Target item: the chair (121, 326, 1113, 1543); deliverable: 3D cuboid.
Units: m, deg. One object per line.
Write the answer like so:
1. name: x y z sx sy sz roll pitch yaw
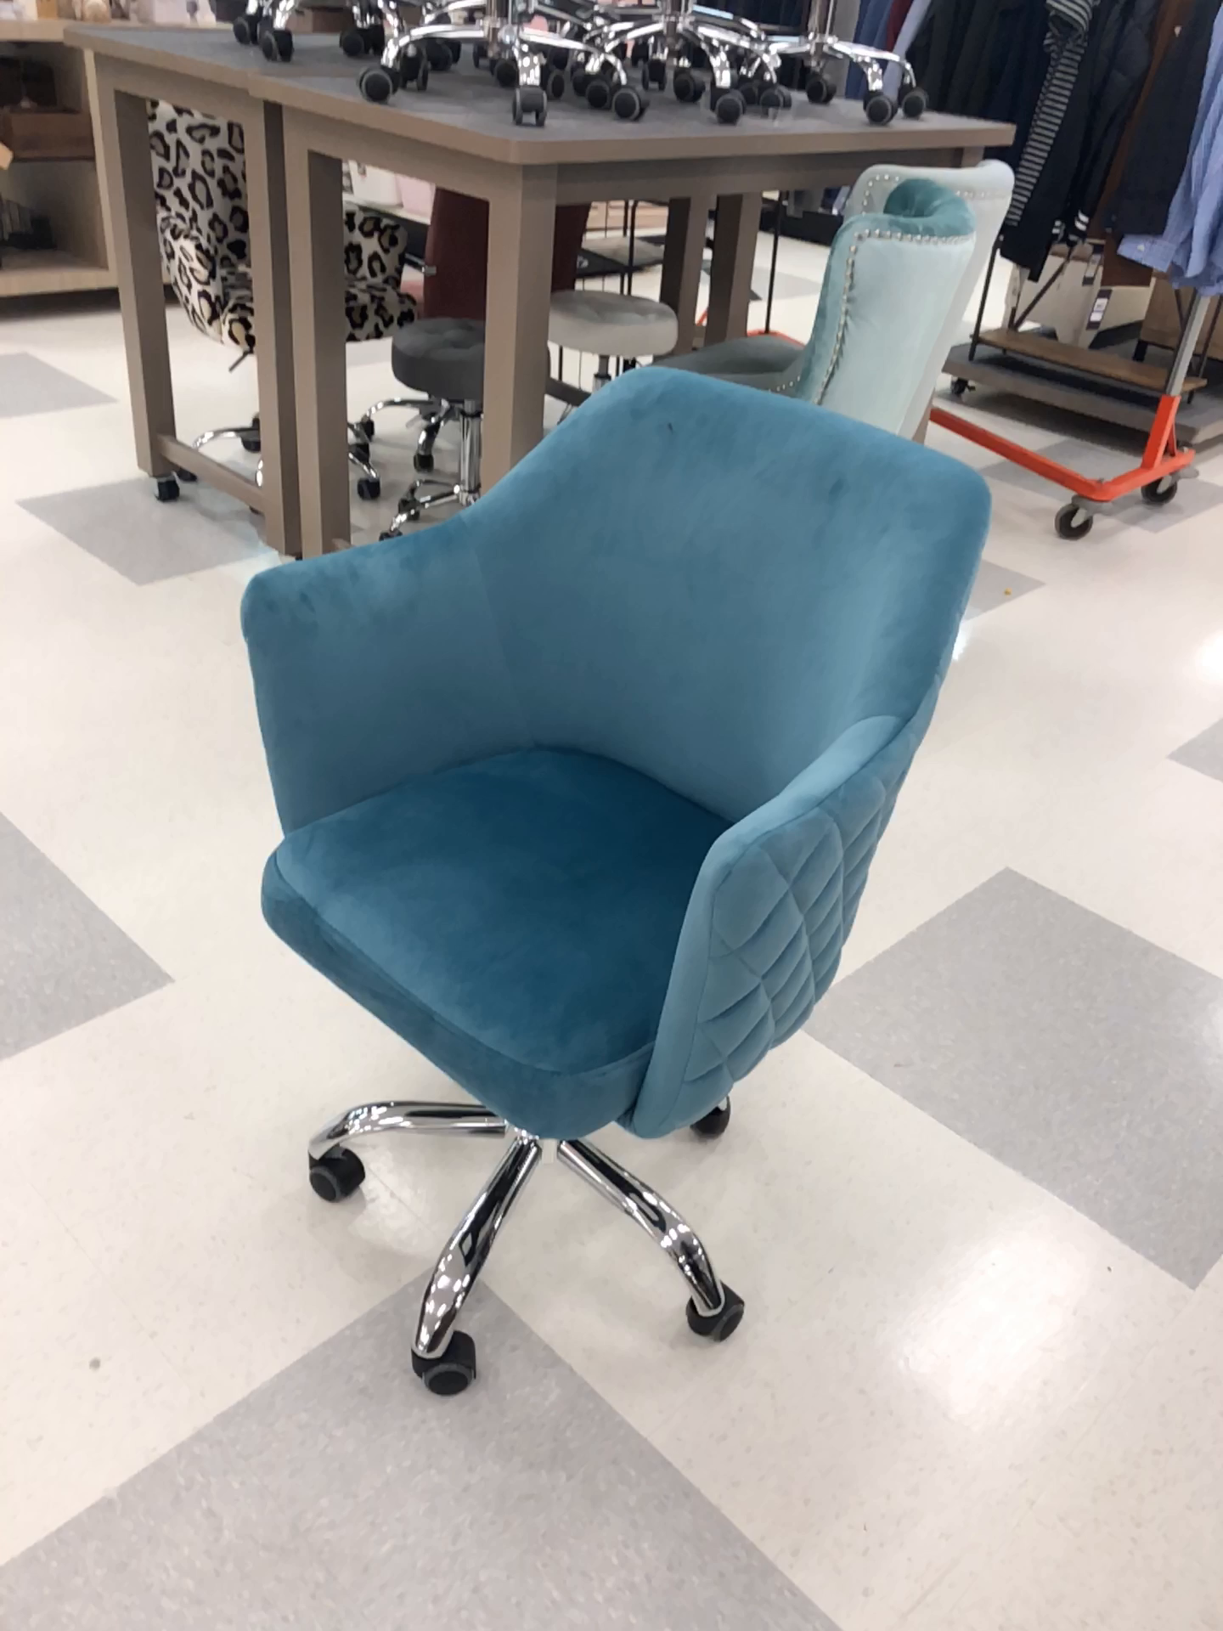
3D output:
1. chair: -0.032 0.067 1.333 0.564 0.888 0.596 -23 42 -38

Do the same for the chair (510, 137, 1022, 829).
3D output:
1. chair: 0.277 -0.642 2.457 0.651 0.967 0.739 14 33 14
